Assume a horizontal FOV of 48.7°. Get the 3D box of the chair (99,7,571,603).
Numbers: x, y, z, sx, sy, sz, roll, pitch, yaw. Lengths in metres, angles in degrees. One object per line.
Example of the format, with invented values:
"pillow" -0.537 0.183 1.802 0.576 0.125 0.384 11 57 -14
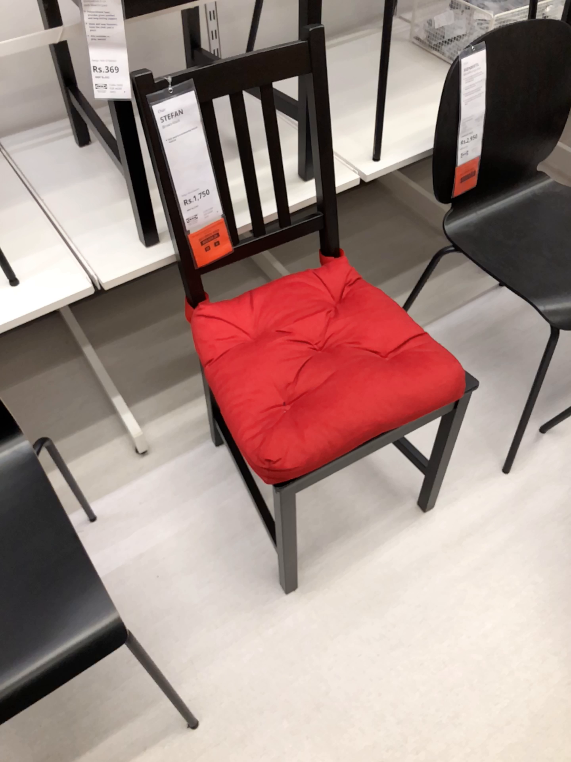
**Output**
"chair" 0.060 -0.078 1.114 0.431 0.835 0.482 -25 54 -18
